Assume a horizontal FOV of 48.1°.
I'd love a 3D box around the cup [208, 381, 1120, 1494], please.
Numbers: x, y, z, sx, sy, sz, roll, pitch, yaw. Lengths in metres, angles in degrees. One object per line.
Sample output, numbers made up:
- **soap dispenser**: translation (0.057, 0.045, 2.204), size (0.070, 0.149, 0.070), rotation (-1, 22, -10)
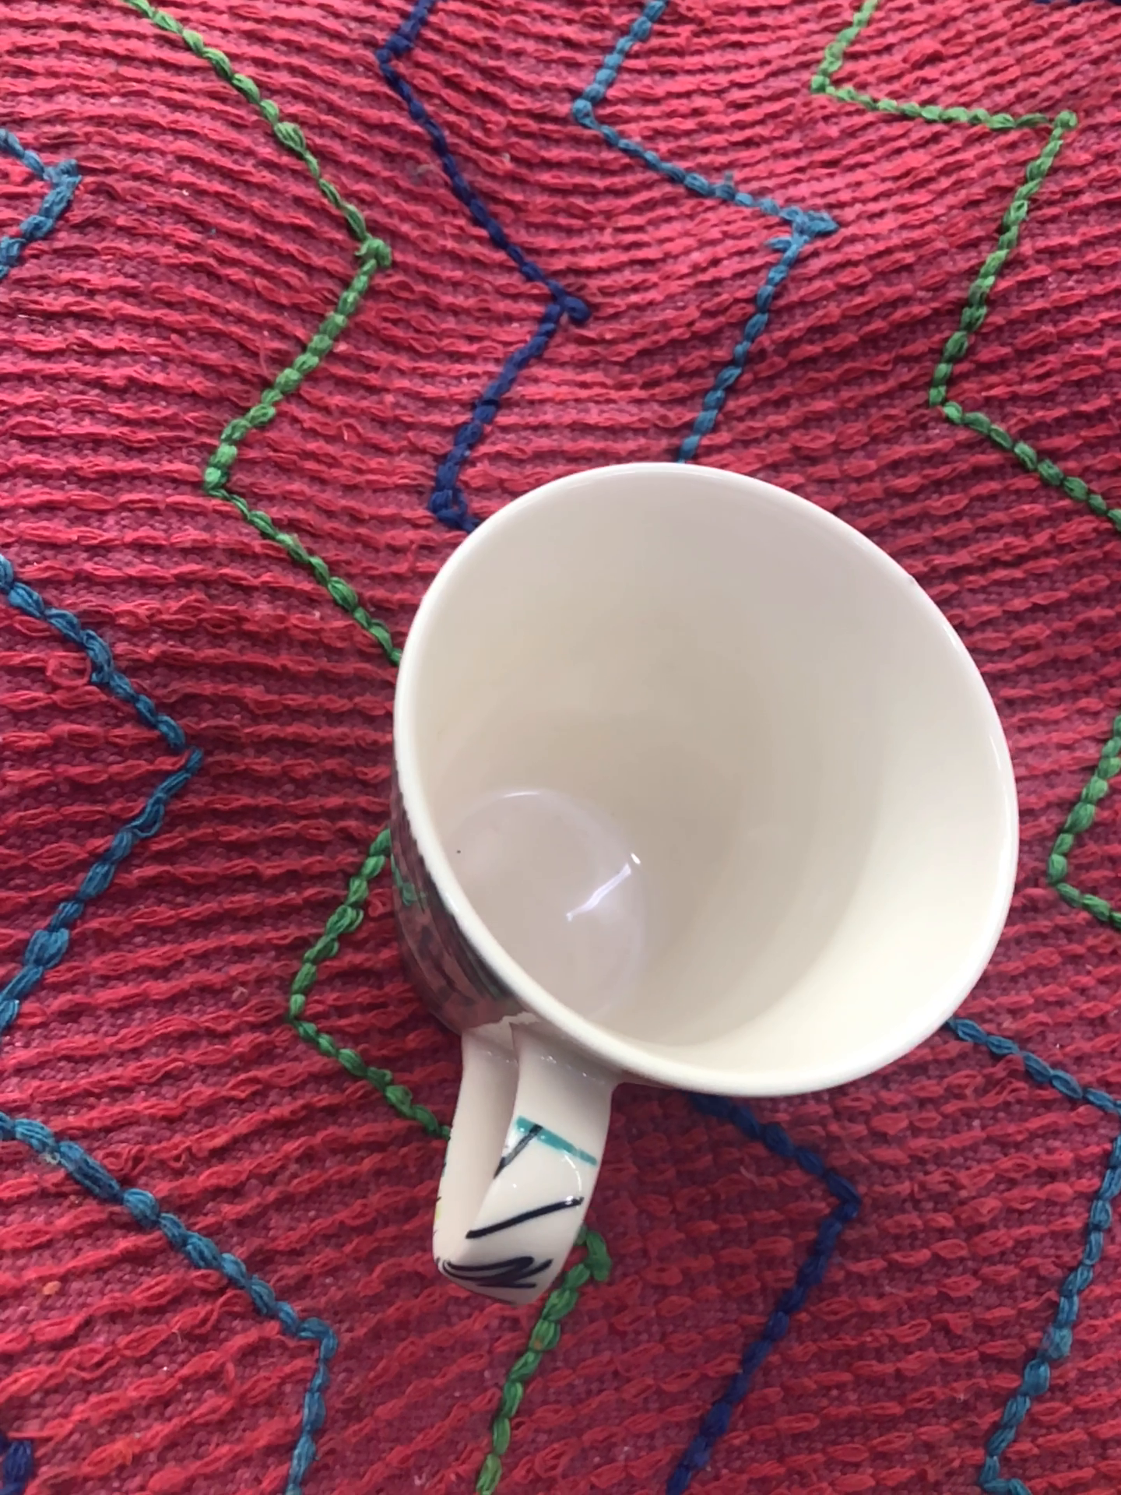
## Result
- **cup**: translation (0.019, 0.031, 0.181), size (0.090, 0.080, 0.110), rotation (25, 75, -6)
